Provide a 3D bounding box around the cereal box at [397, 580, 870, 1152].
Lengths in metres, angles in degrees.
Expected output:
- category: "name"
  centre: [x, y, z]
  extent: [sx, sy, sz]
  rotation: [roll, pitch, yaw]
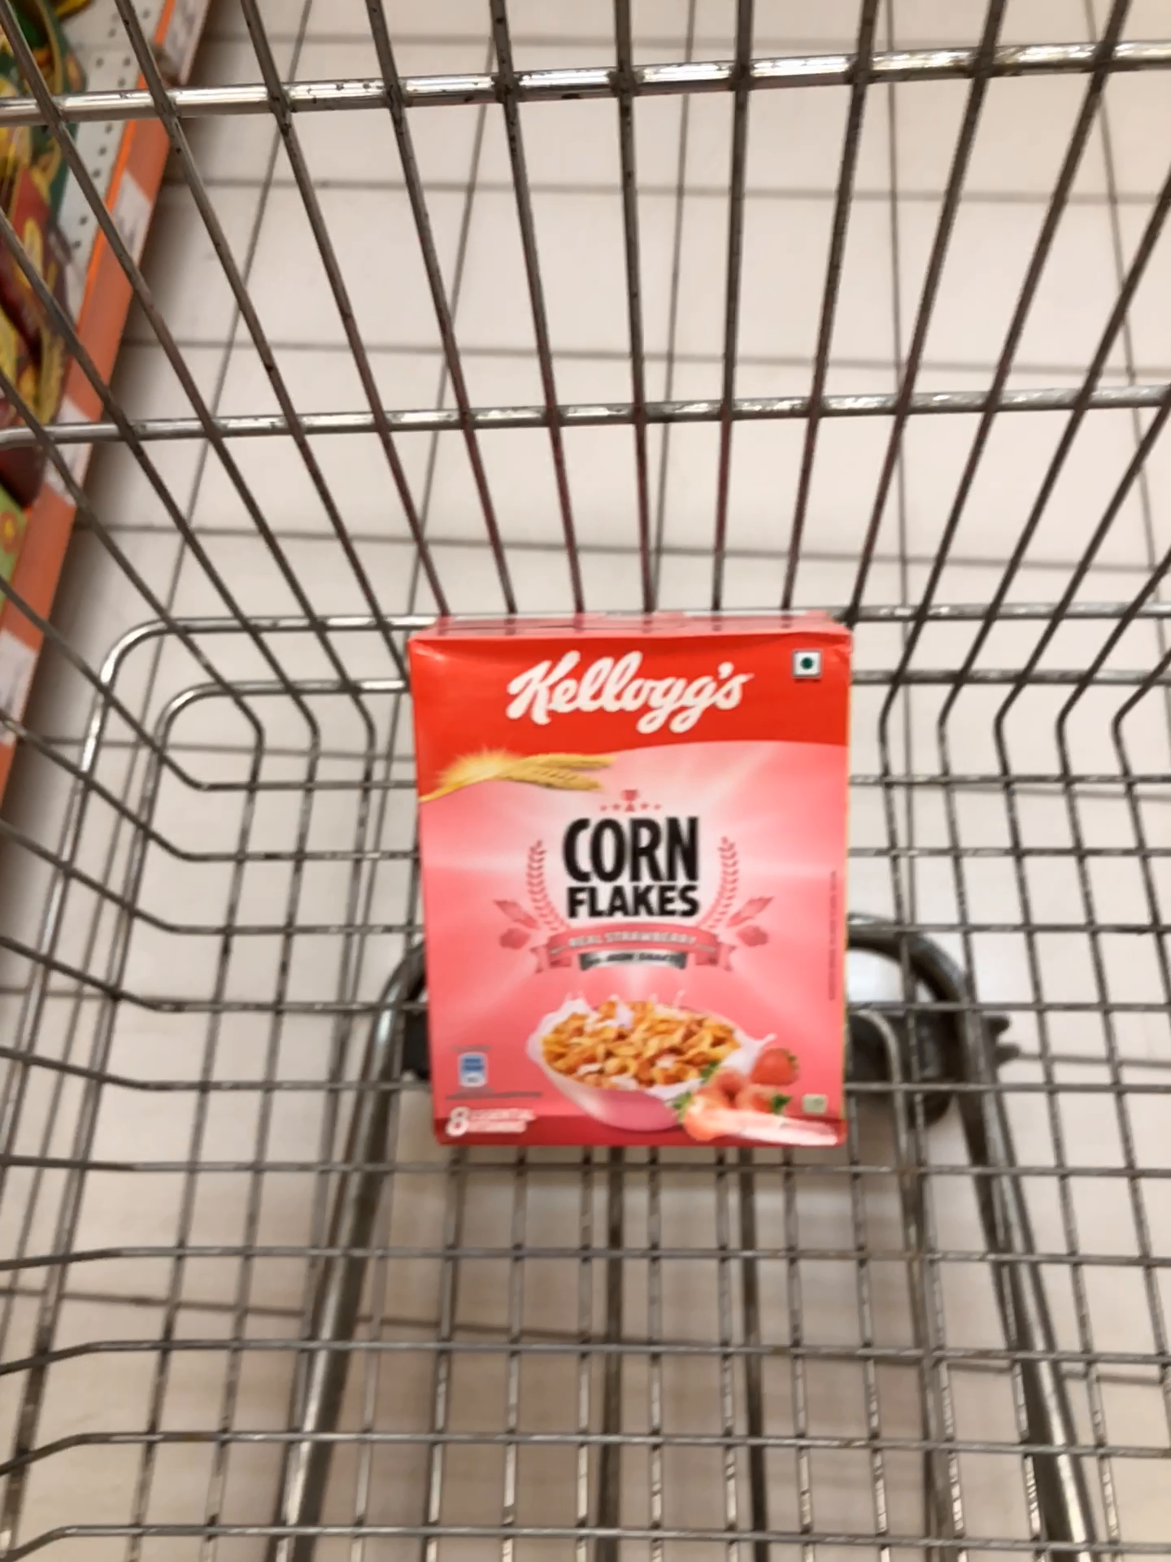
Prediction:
- category: "cereal box"
  centre: [0.016, 0.027, 0.432]
  extent: [0.140, 0.050, 0.180]
  rotation: [0, 103, 3]
